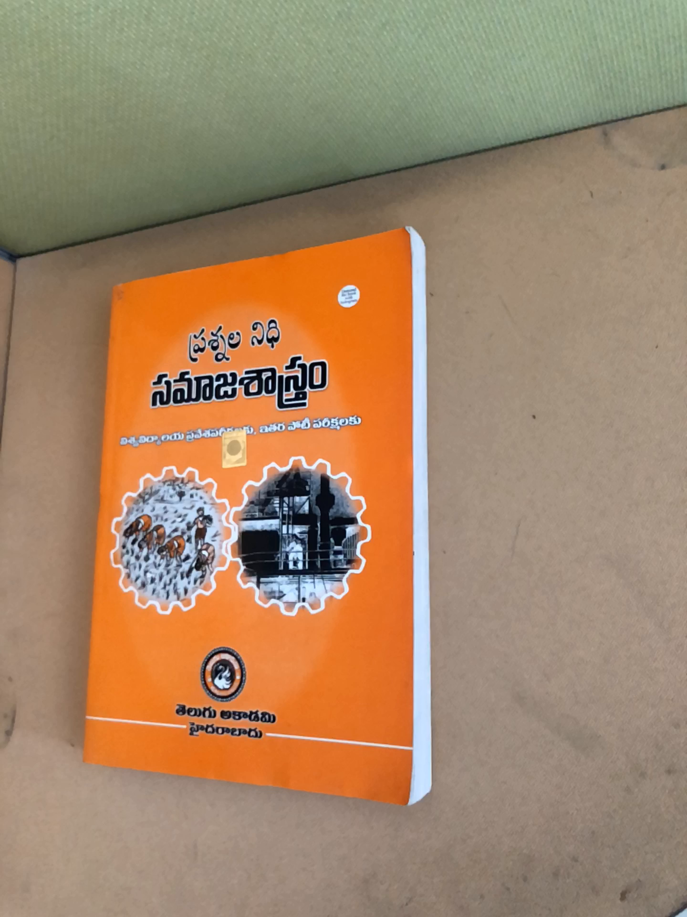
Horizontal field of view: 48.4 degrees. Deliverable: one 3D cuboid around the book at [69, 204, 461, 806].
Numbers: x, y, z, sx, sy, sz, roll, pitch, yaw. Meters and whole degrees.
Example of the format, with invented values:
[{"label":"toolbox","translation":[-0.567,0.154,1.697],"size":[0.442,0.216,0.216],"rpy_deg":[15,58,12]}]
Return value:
[{"label":"book","translation":[-0.045,0.022,0.432],"size":[0.210,0.050,0.290],"rpy_deg":[-4,78,24]}]
